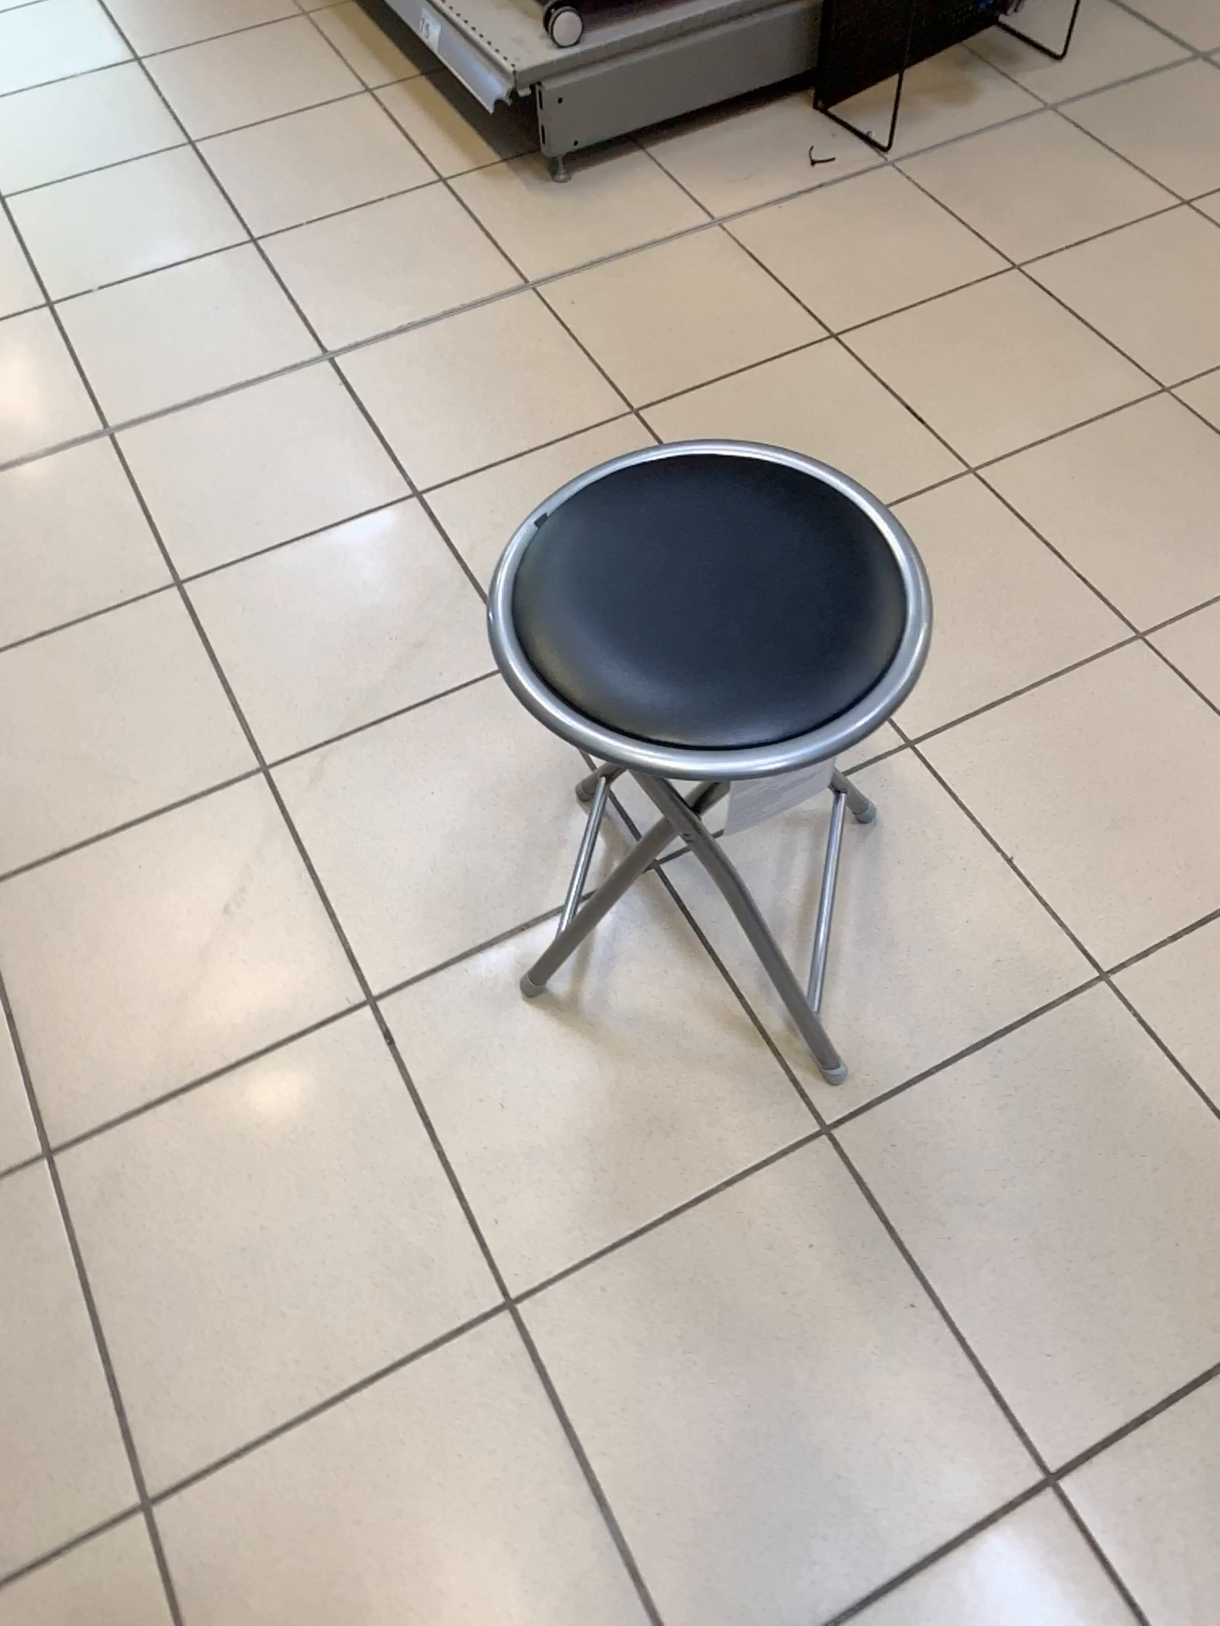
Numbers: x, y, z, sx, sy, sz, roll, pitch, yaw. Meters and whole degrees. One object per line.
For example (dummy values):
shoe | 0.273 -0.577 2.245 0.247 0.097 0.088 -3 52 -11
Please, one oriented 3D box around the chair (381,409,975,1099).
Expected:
chair | 0.067 -0.031 0.993 0.335 0.402 0.329 10 58 9
